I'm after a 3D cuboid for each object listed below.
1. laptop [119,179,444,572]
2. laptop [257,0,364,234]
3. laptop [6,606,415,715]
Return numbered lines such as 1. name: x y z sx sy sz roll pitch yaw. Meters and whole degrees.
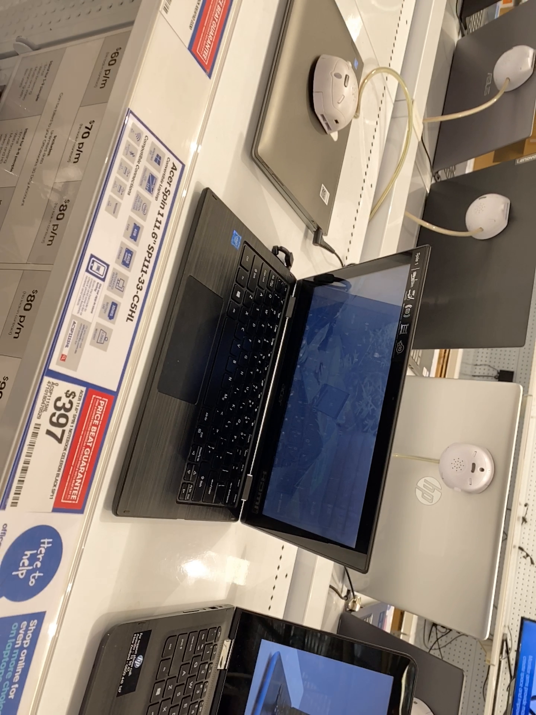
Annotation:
1. laptop: 0.033 0.022 0.514 0.198 0.174 0.290 32 68 -58
2. laptop: 0.064 -0.320 0.676 0.196 0.001 0.284 31 67 -58
3. laptop: -0.015 0.439 0.513 0.298 0.190 0.323 31 69 -58
